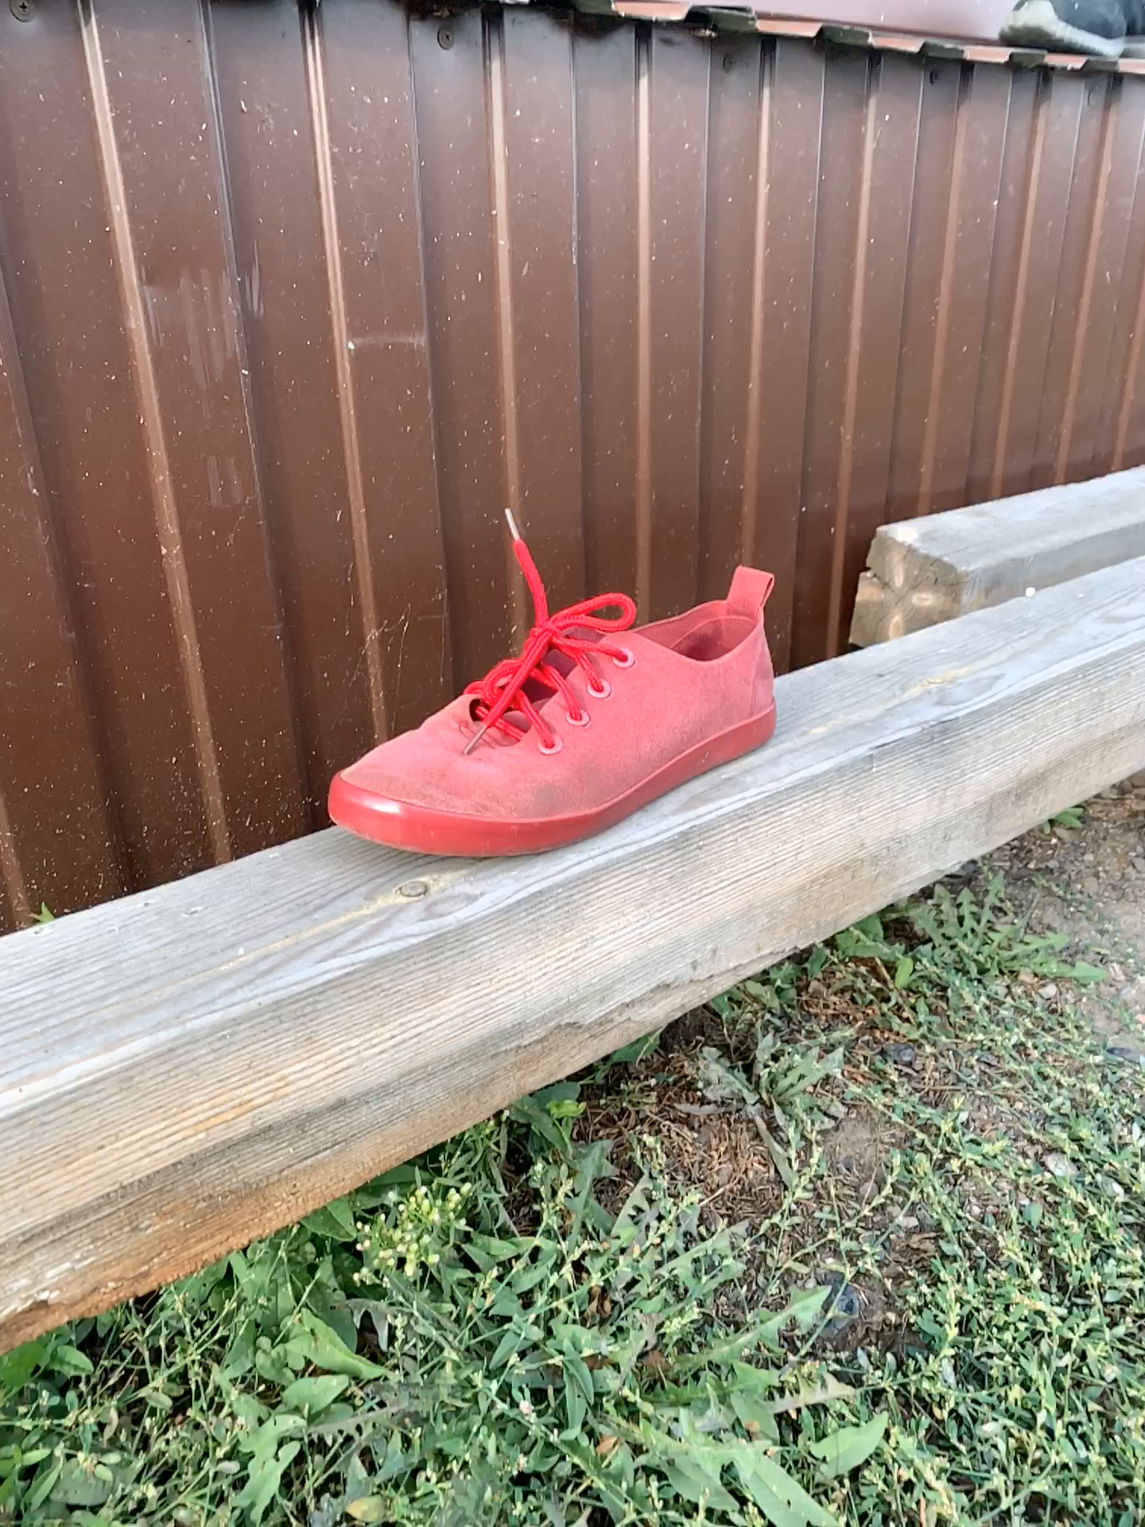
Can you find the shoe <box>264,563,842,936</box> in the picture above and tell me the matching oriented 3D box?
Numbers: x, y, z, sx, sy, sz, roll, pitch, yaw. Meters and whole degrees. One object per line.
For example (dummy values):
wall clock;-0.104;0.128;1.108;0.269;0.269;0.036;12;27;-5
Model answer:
shoe;0.004;-0.021;0.506;0.241;0.069;0.100;-23;31;-39
